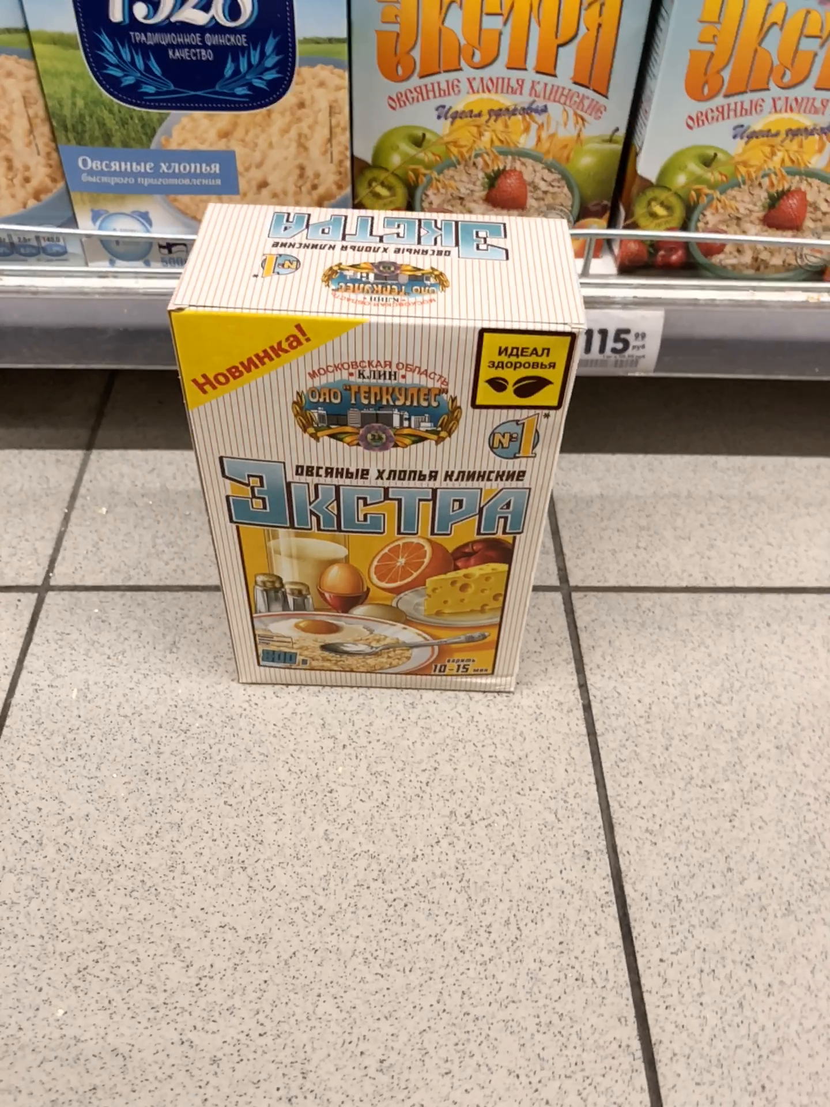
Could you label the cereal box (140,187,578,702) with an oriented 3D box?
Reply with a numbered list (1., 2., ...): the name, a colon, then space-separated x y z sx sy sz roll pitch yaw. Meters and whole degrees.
1. cereal box: -0.022 -0.034 0.430 0.150 0.239 0.080 2 47 0
